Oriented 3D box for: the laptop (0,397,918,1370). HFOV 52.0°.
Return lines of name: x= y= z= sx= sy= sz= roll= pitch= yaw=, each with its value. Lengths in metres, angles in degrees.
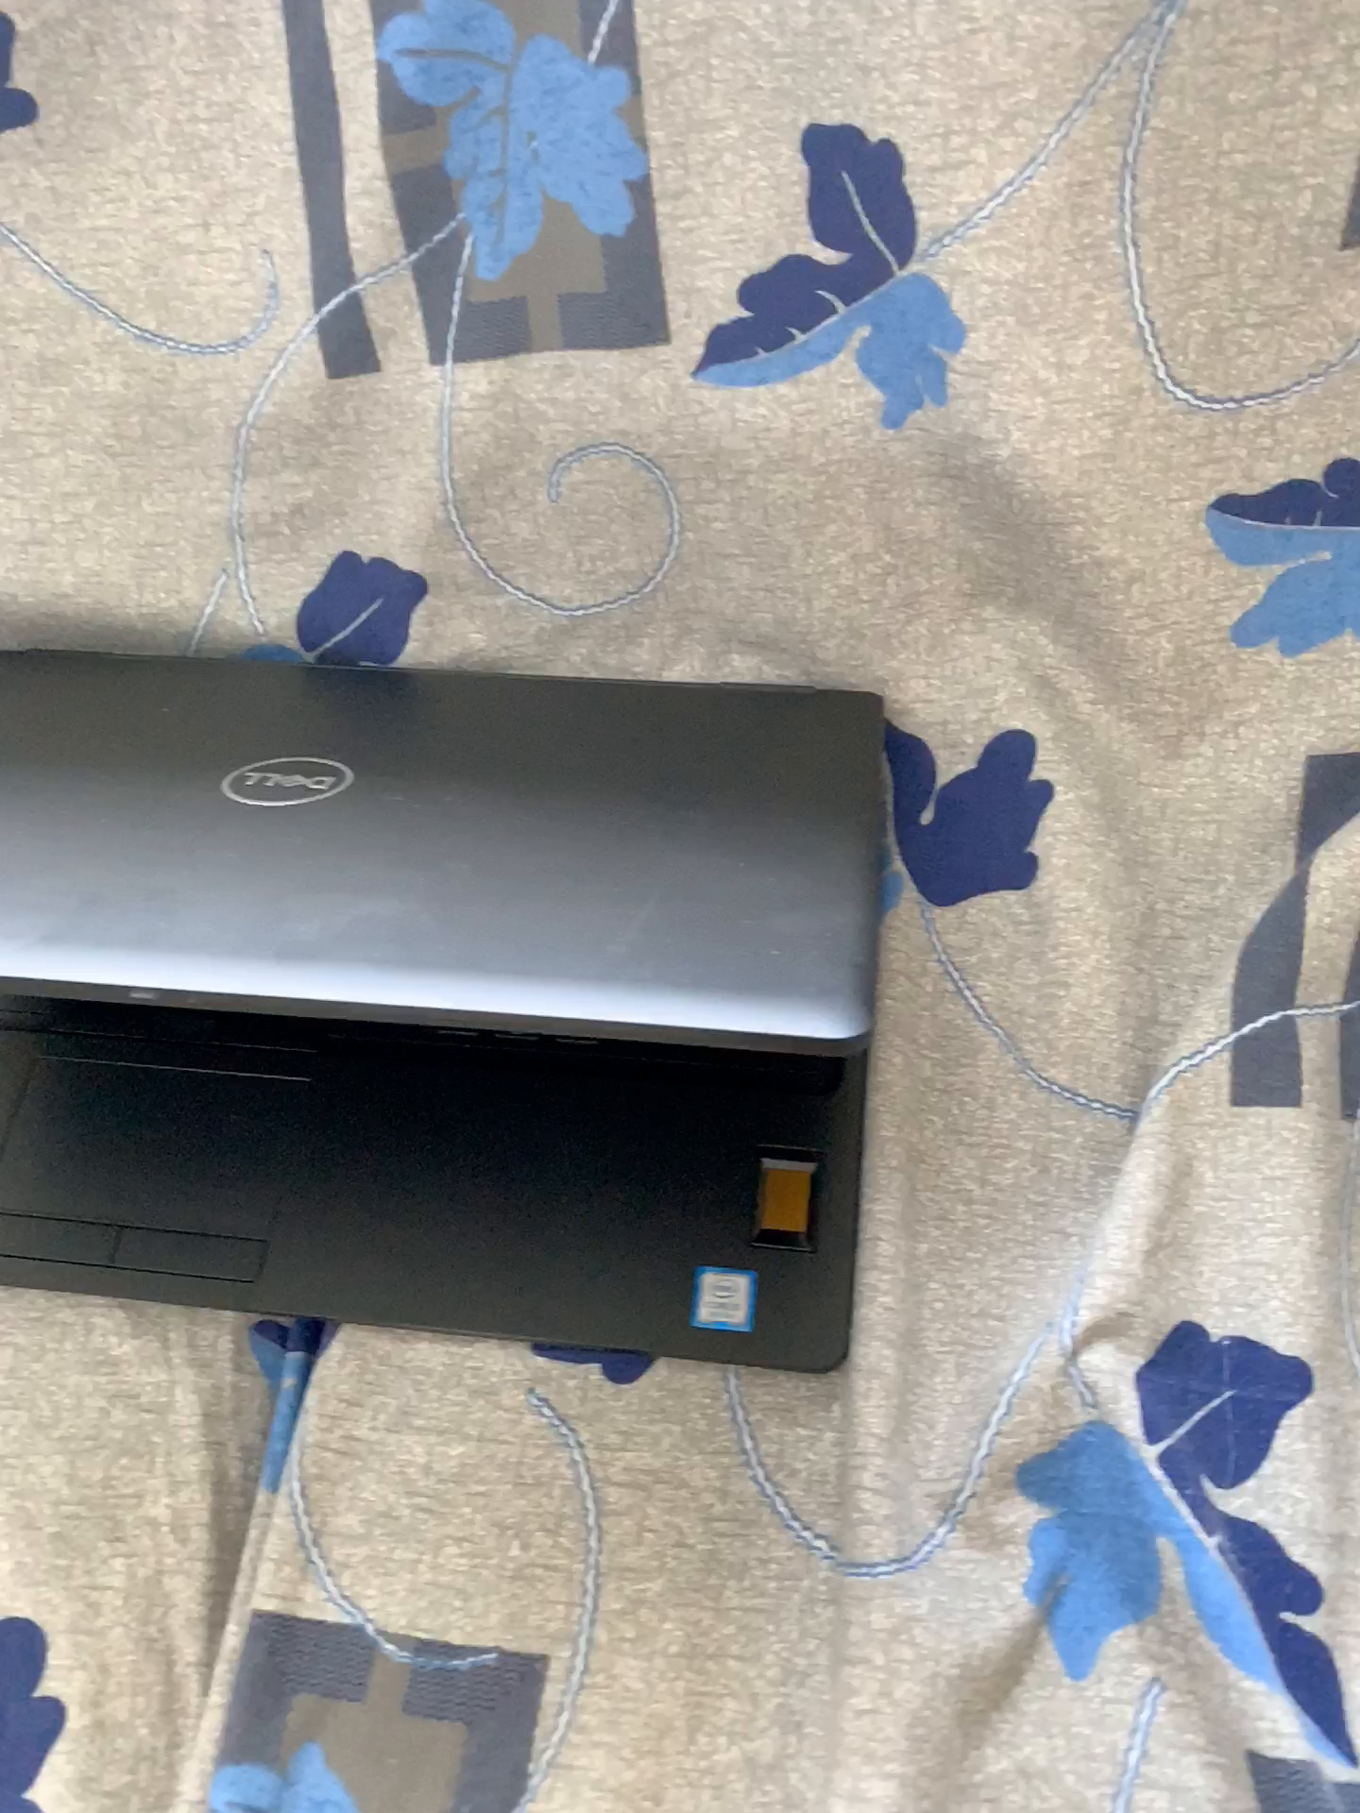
laptop: x=-0.126 y=-0.013 z=0.424 sx=0.371 sy=0.143 sz=0.238 roll=4 pitch=62 yaw=7
